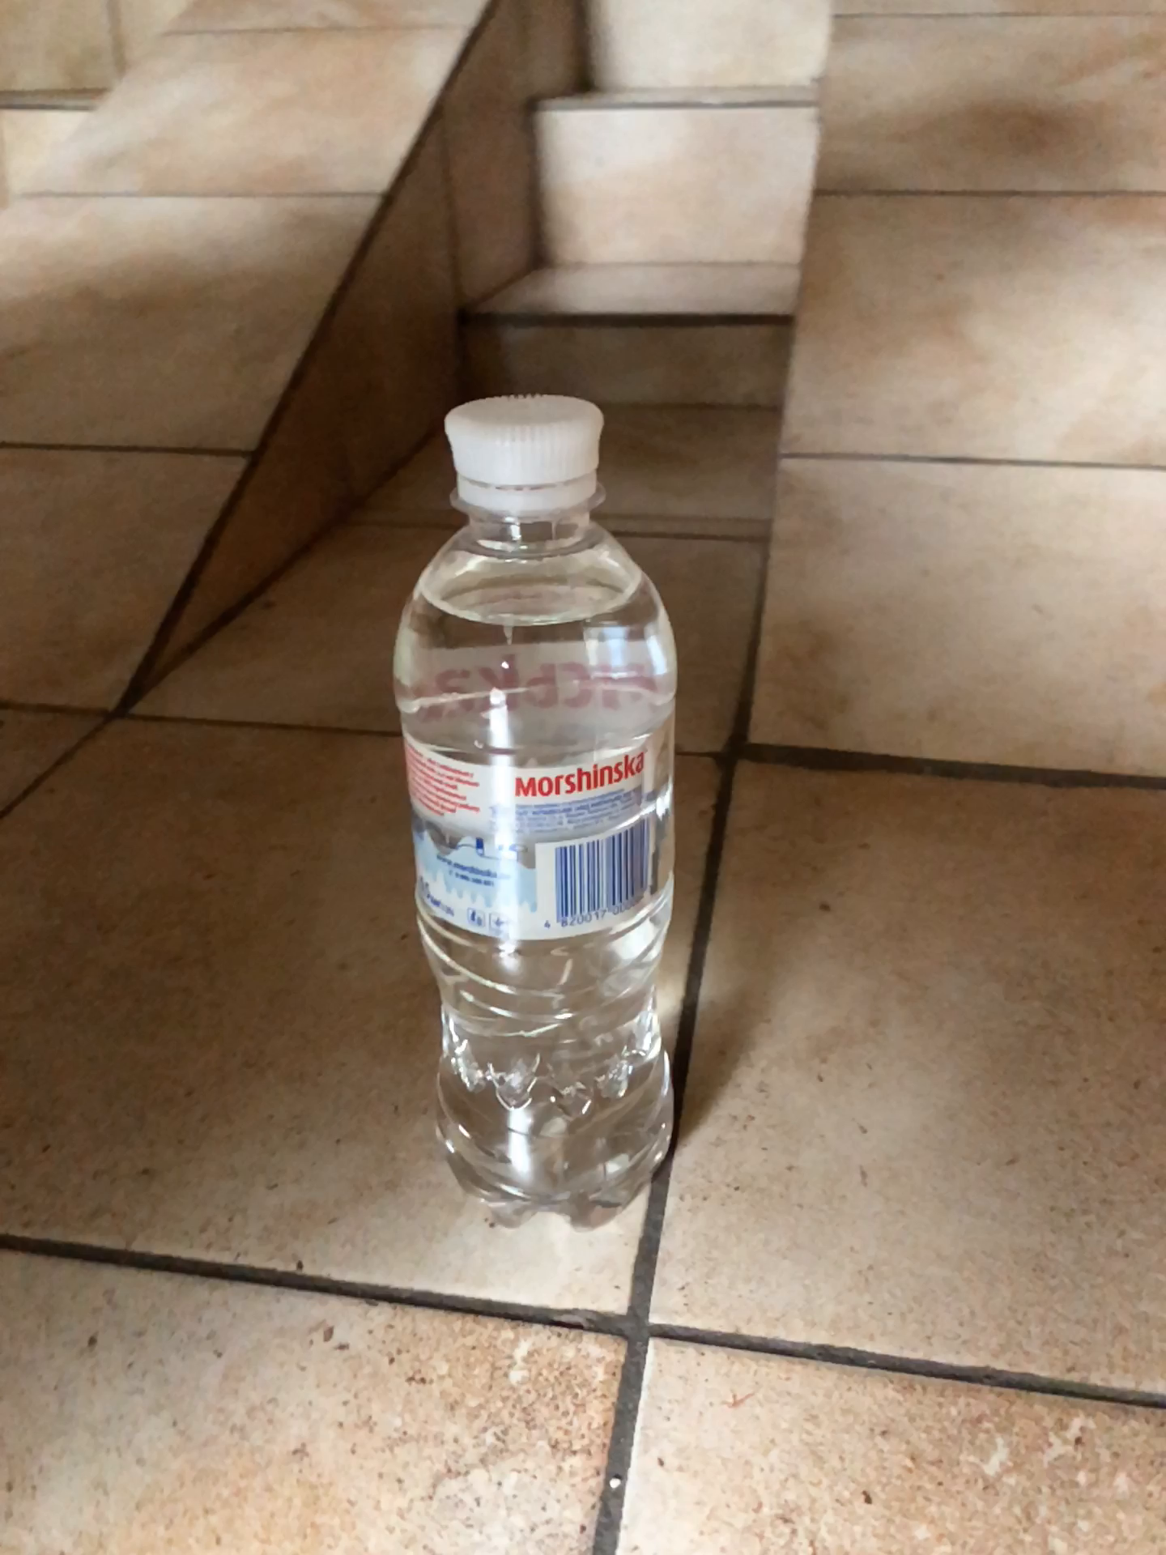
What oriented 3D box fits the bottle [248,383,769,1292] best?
[{"bbox_3d":[-0.011,0.015,0.322,0.080,0.199,0.080,-1,29,1],"label":"bottle"}]
